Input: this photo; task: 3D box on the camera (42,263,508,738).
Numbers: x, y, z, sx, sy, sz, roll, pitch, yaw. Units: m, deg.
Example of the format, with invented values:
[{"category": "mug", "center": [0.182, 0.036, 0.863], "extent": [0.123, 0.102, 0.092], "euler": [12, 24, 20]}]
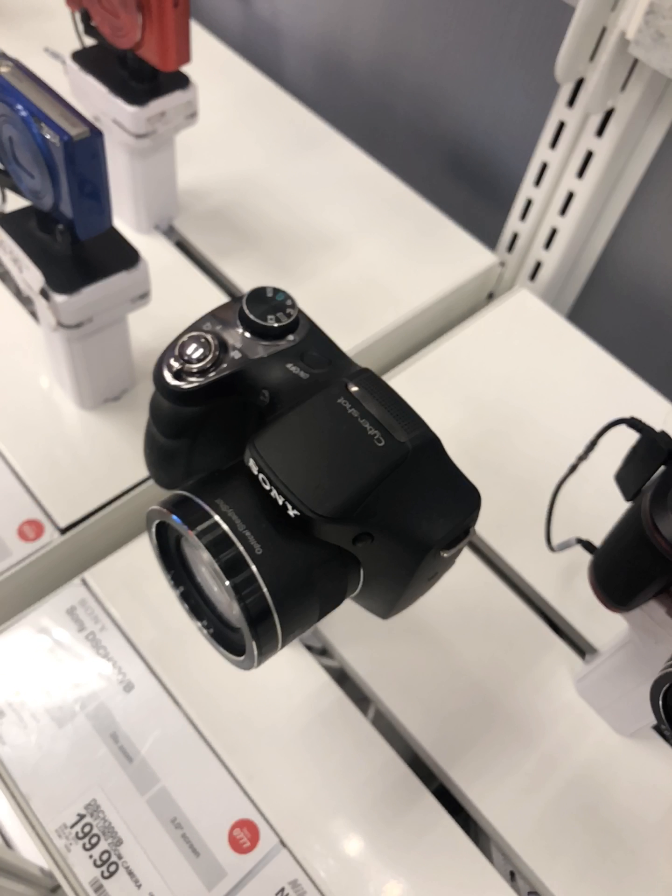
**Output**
[{"category": "camera", "center": [-0.024, 0.016, 0.263], "extent": [0.087, 0.076, 0.119], "euler": [-36, 68, -28]}]
